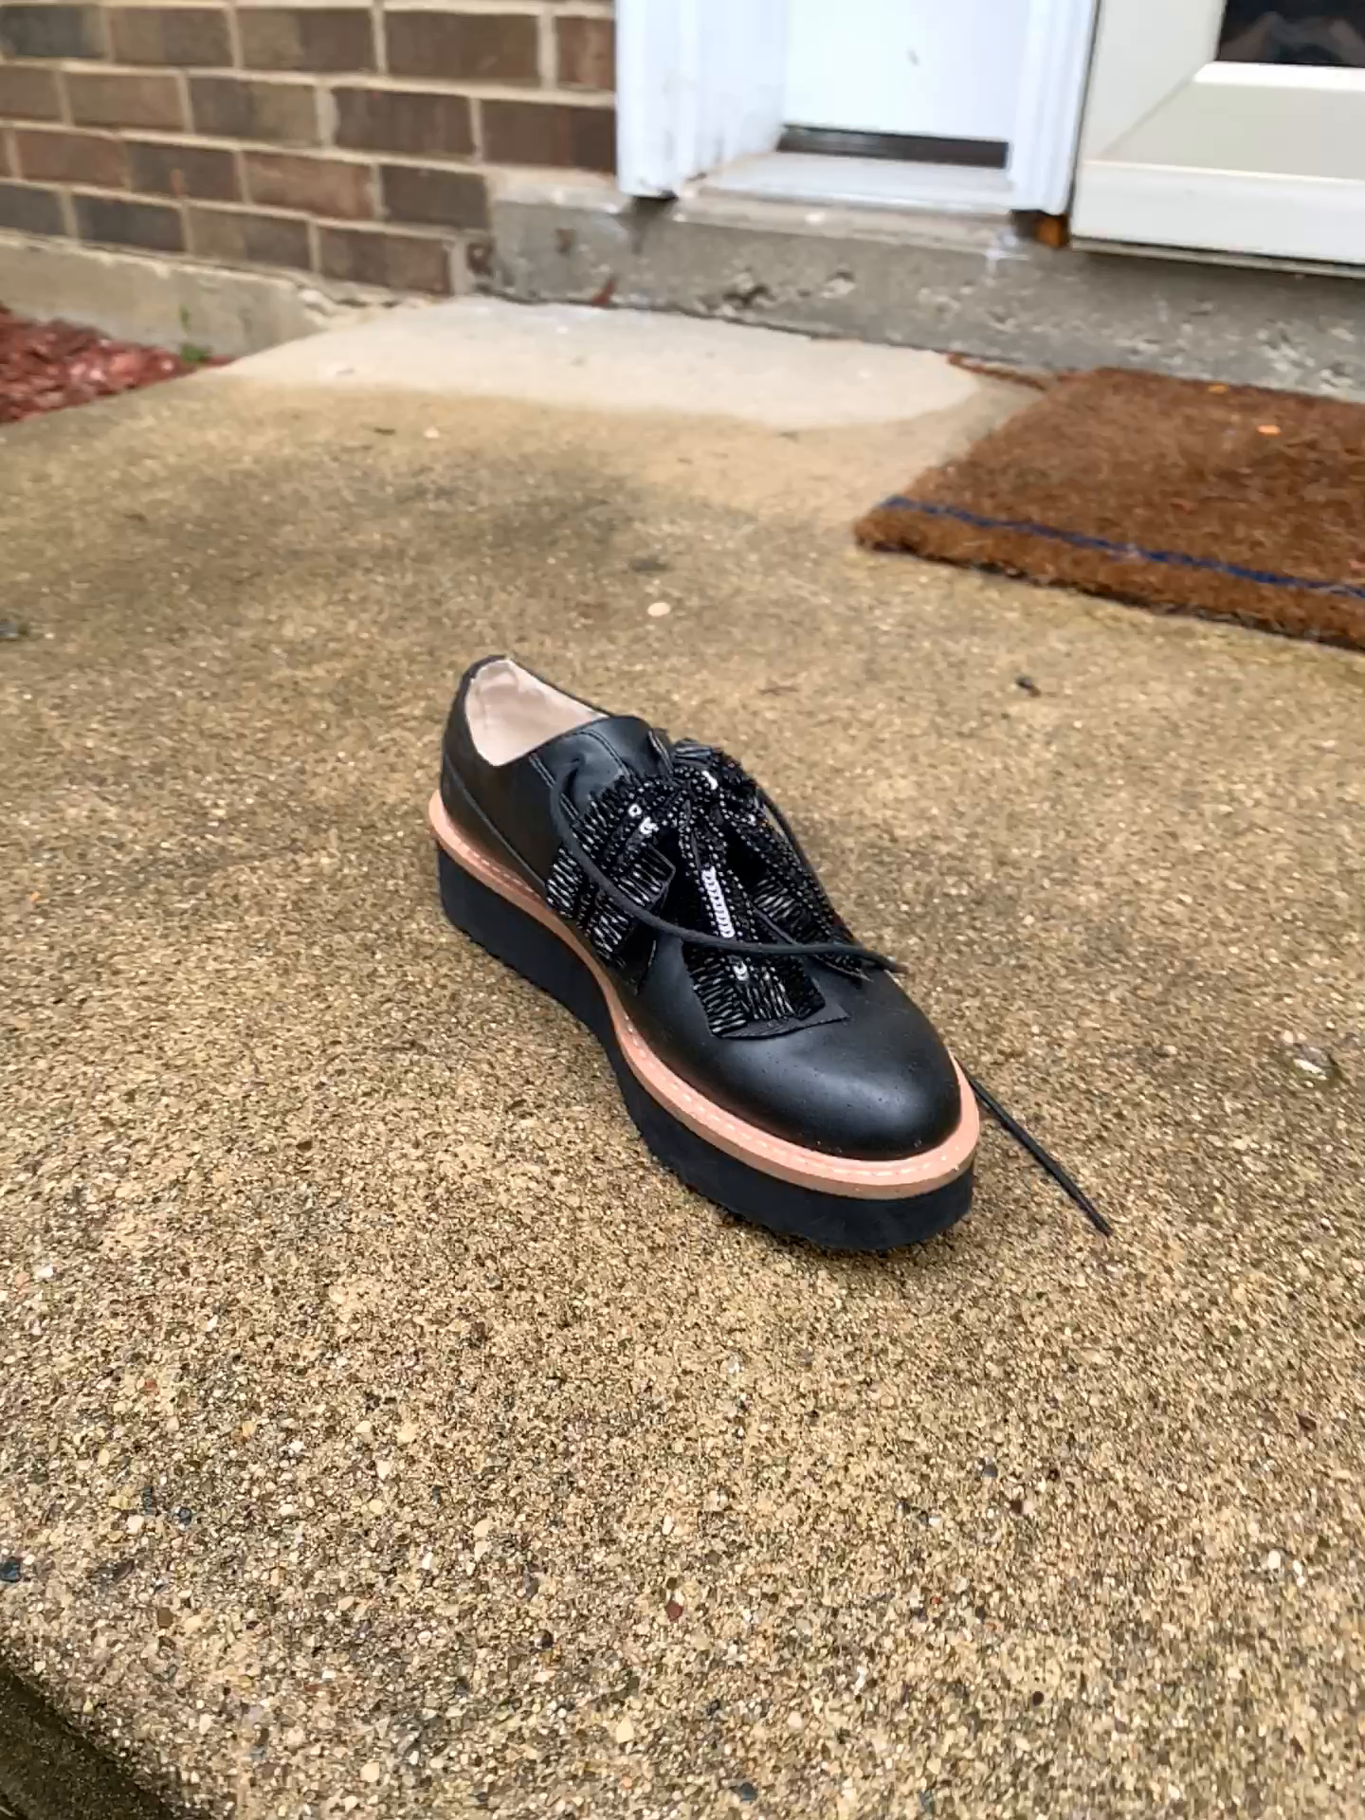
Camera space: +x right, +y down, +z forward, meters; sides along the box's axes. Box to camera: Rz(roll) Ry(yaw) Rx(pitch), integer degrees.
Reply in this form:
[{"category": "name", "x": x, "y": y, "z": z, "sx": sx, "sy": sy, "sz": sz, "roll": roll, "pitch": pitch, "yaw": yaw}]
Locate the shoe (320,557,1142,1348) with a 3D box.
[{"category": "shoe", "x": -0.002, "y": -0.008, "z": 0.458, "sx": 0.106, "sy": 0.120, "sz": 0.259, "roll": -23, "pitch": 41, "yaw": -31}]
